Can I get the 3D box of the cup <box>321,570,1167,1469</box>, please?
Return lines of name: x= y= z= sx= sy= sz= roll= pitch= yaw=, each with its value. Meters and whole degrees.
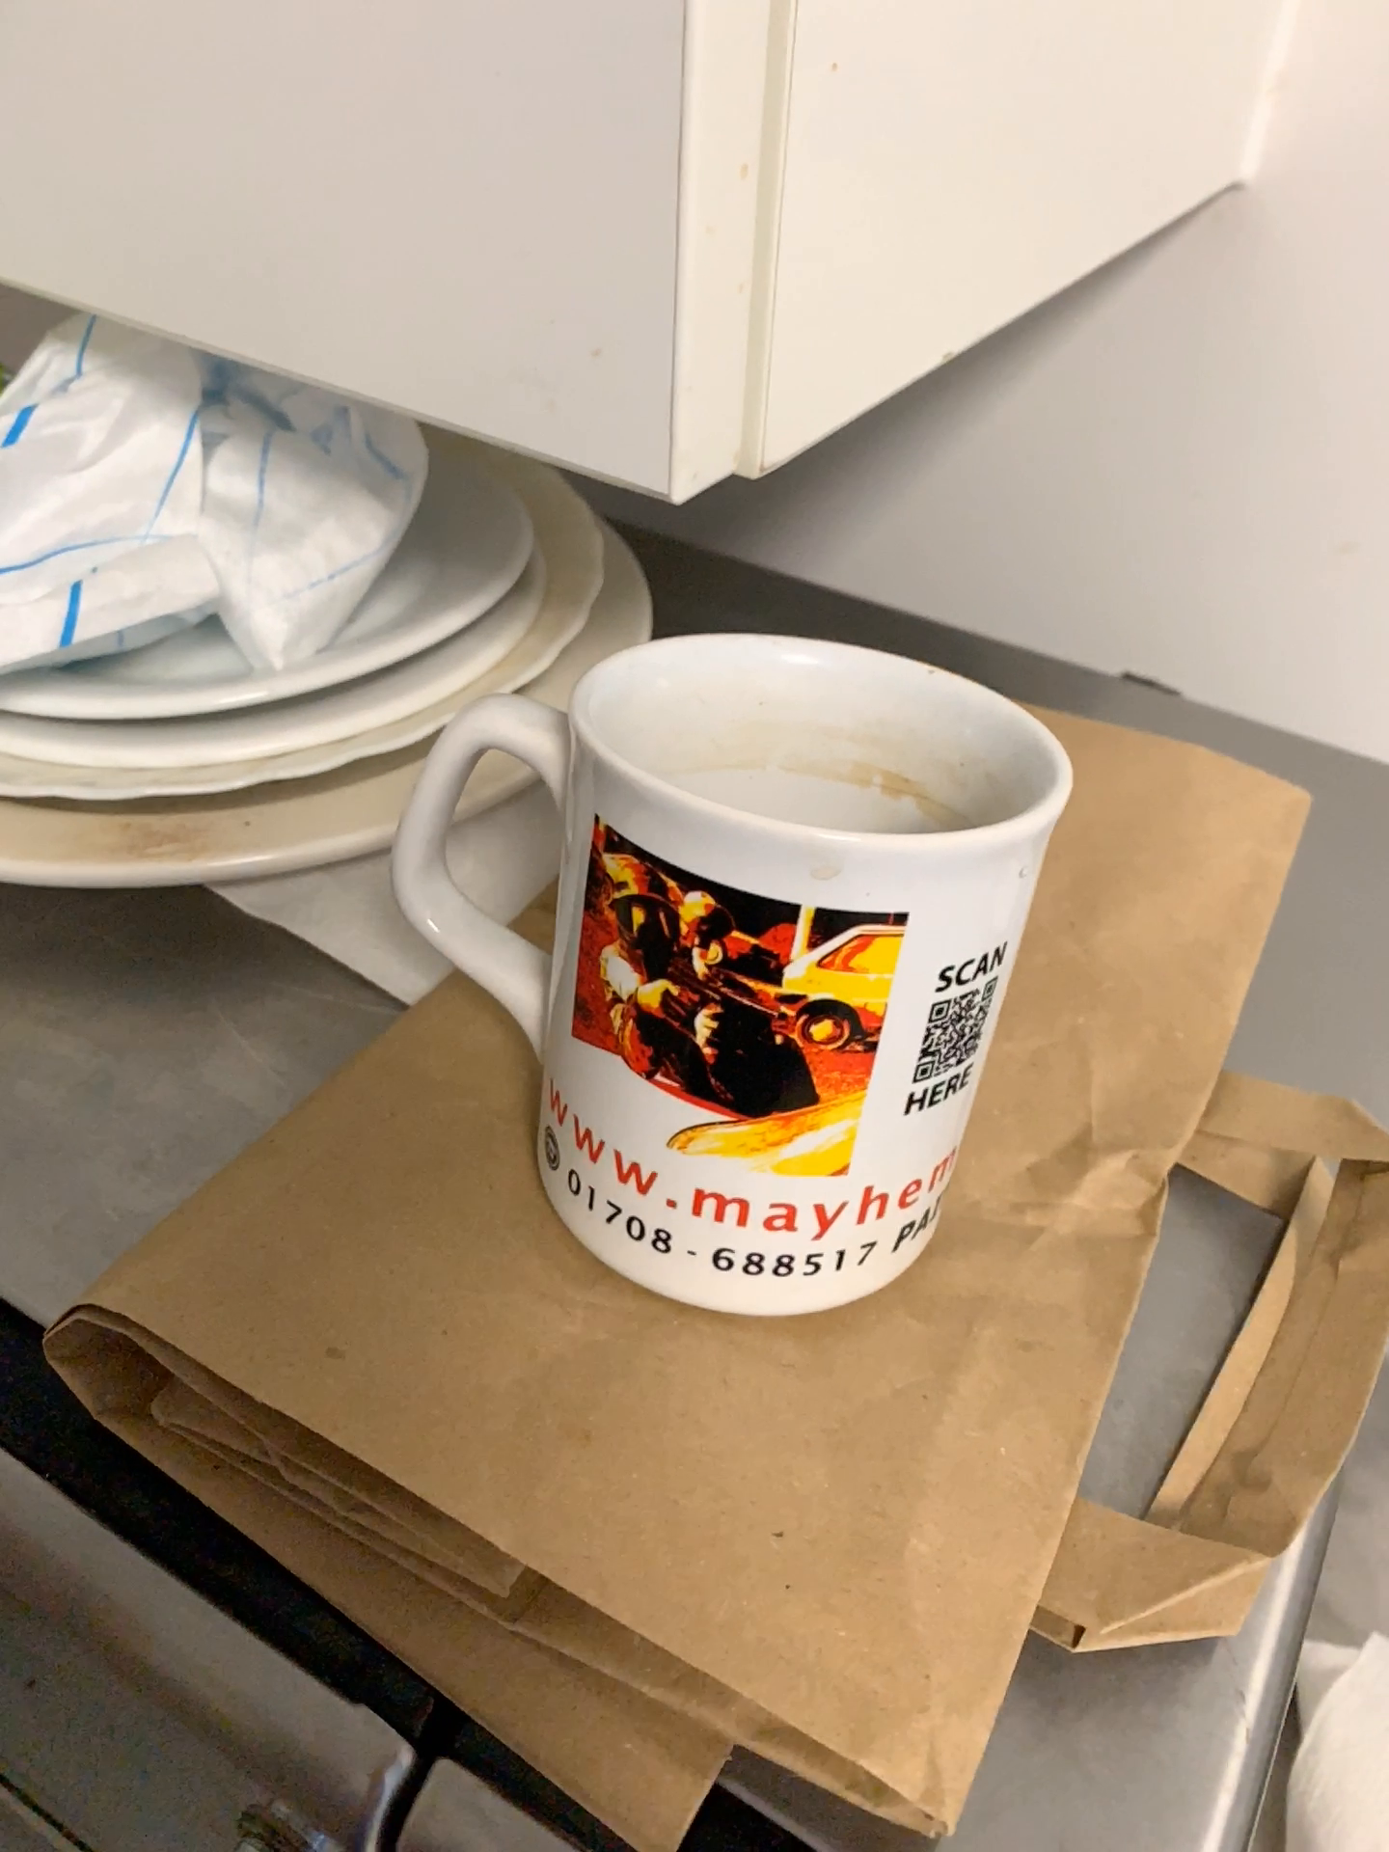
cup: x=0.005 y=0.007 z=0.232 sx=0.100 sy=0.088 sz=0.078 roll=21 pitch=33 yaw=20
